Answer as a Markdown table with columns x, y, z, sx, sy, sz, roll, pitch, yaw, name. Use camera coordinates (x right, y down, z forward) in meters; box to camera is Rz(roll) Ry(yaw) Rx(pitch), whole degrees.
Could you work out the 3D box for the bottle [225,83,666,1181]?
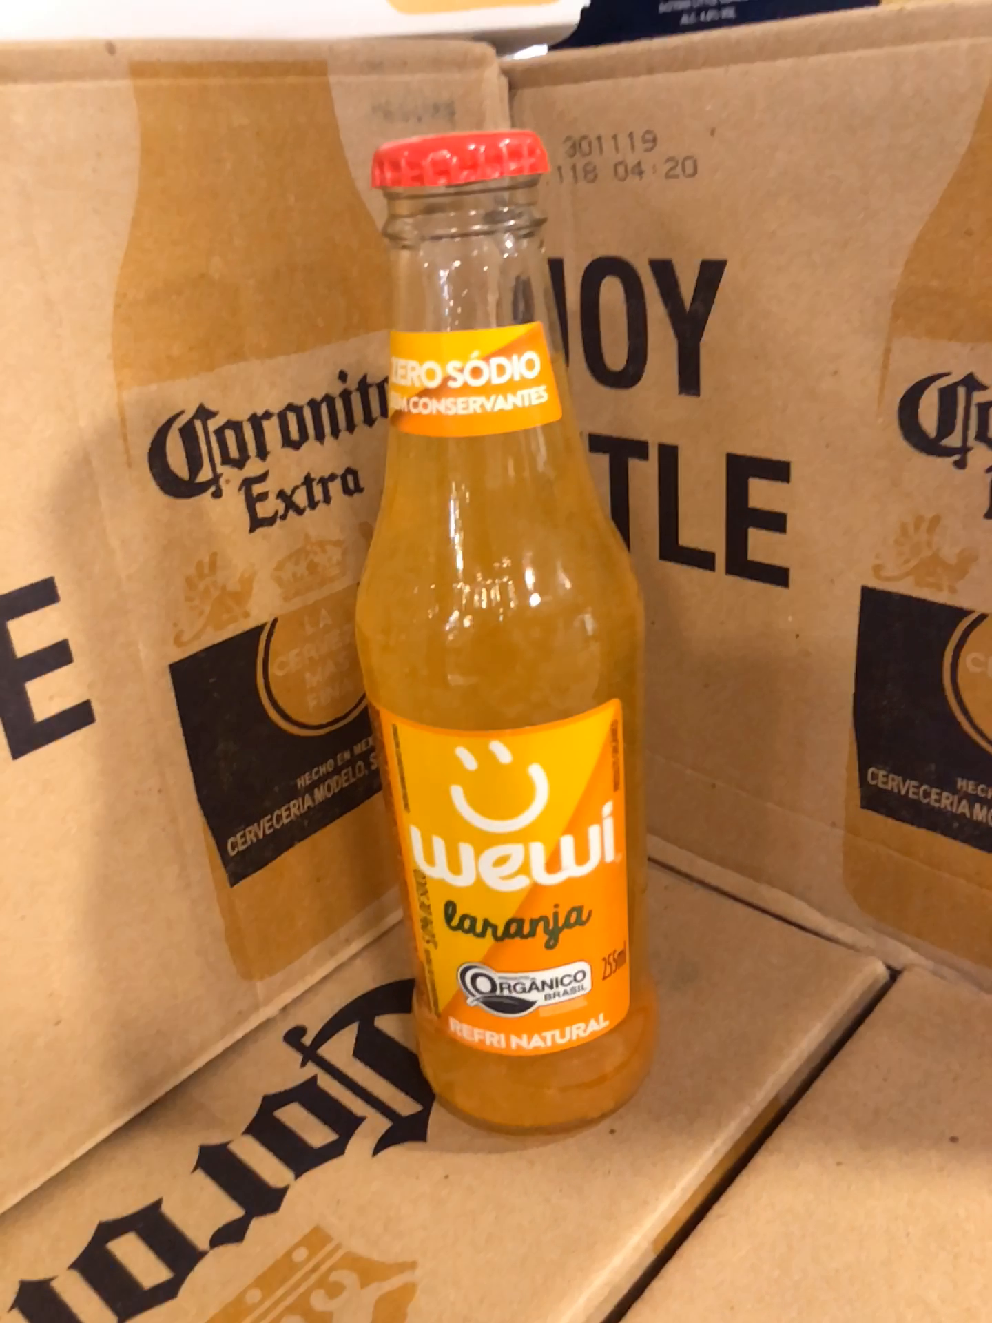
| x | y | z | sx | sy | sz | roll | pitch | yaw | name |
| --- | --- | --- | --- | --- | --- | --- | --- | --- | --- |
| 0.001 | 0.004 | 0.223 | 0.060 | 0.209 | 0.060 | -4 | 24 | 2 | bottle |
